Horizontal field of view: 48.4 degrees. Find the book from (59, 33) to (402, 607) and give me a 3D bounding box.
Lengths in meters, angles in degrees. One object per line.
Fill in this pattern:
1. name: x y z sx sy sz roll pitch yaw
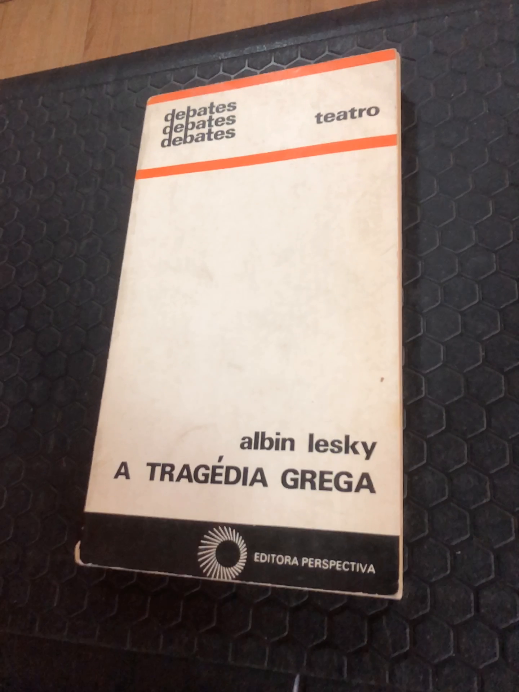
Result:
1. book: -0.005 -0.020 0.223 0.114 0.020 0.207 -2 72 18
